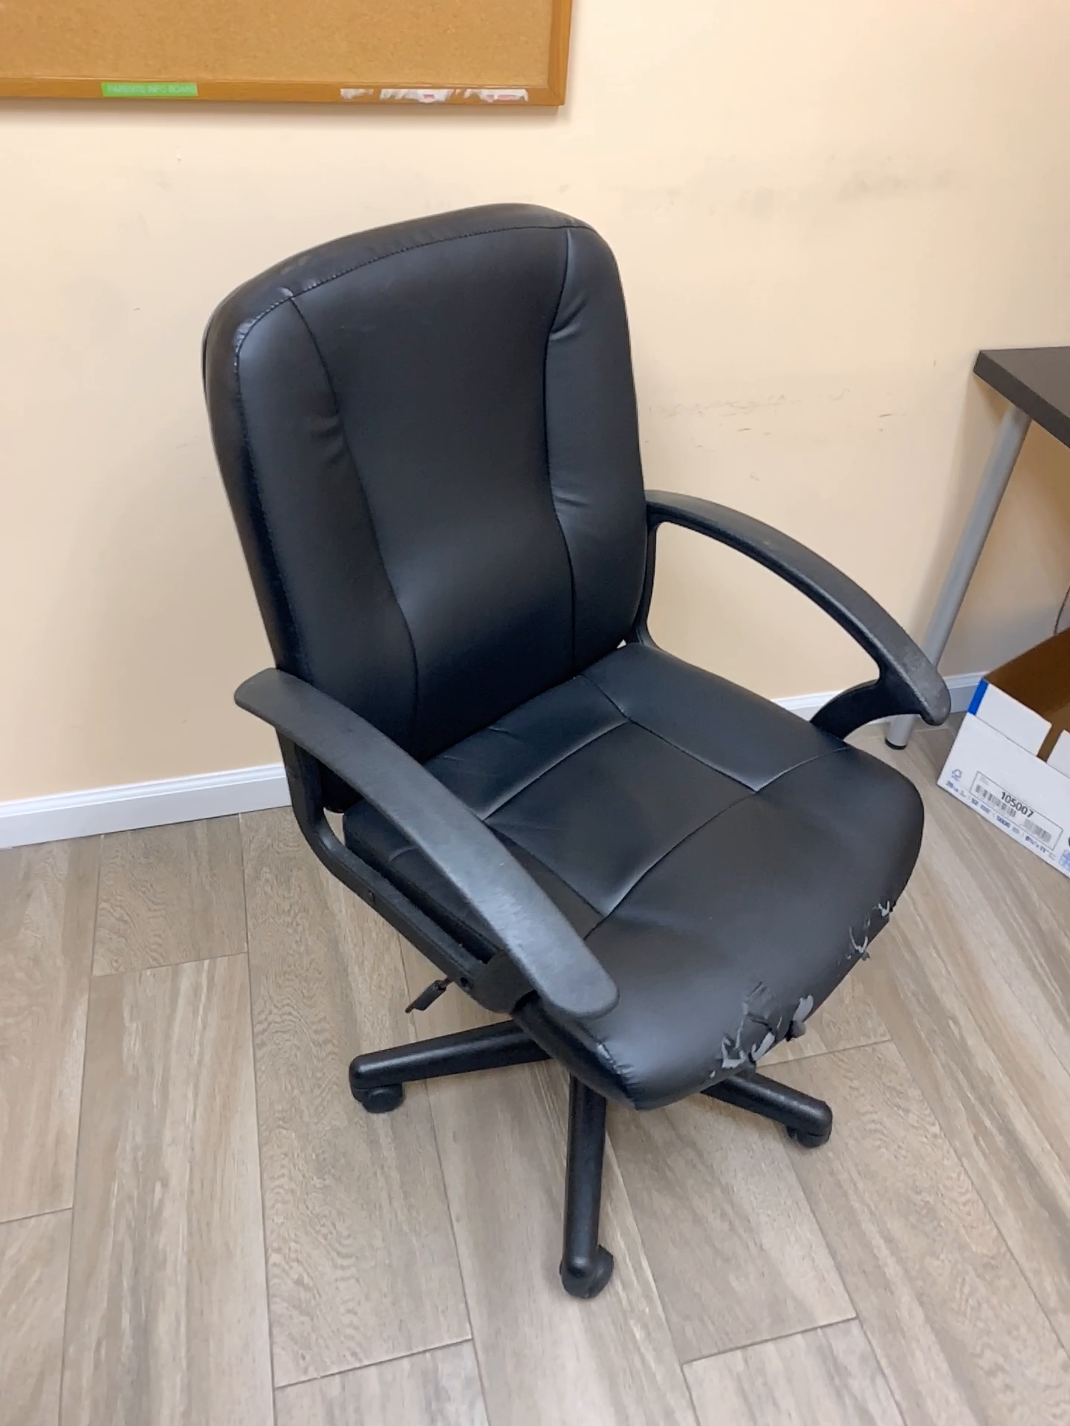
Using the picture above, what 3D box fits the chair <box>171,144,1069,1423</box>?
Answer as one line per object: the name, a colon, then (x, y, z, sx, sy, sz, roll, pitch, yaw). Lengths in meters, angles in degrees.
chair: (0.165, 0.051, 1.160, 0.645, 0.987, 0.685, 35, 48, 30)
